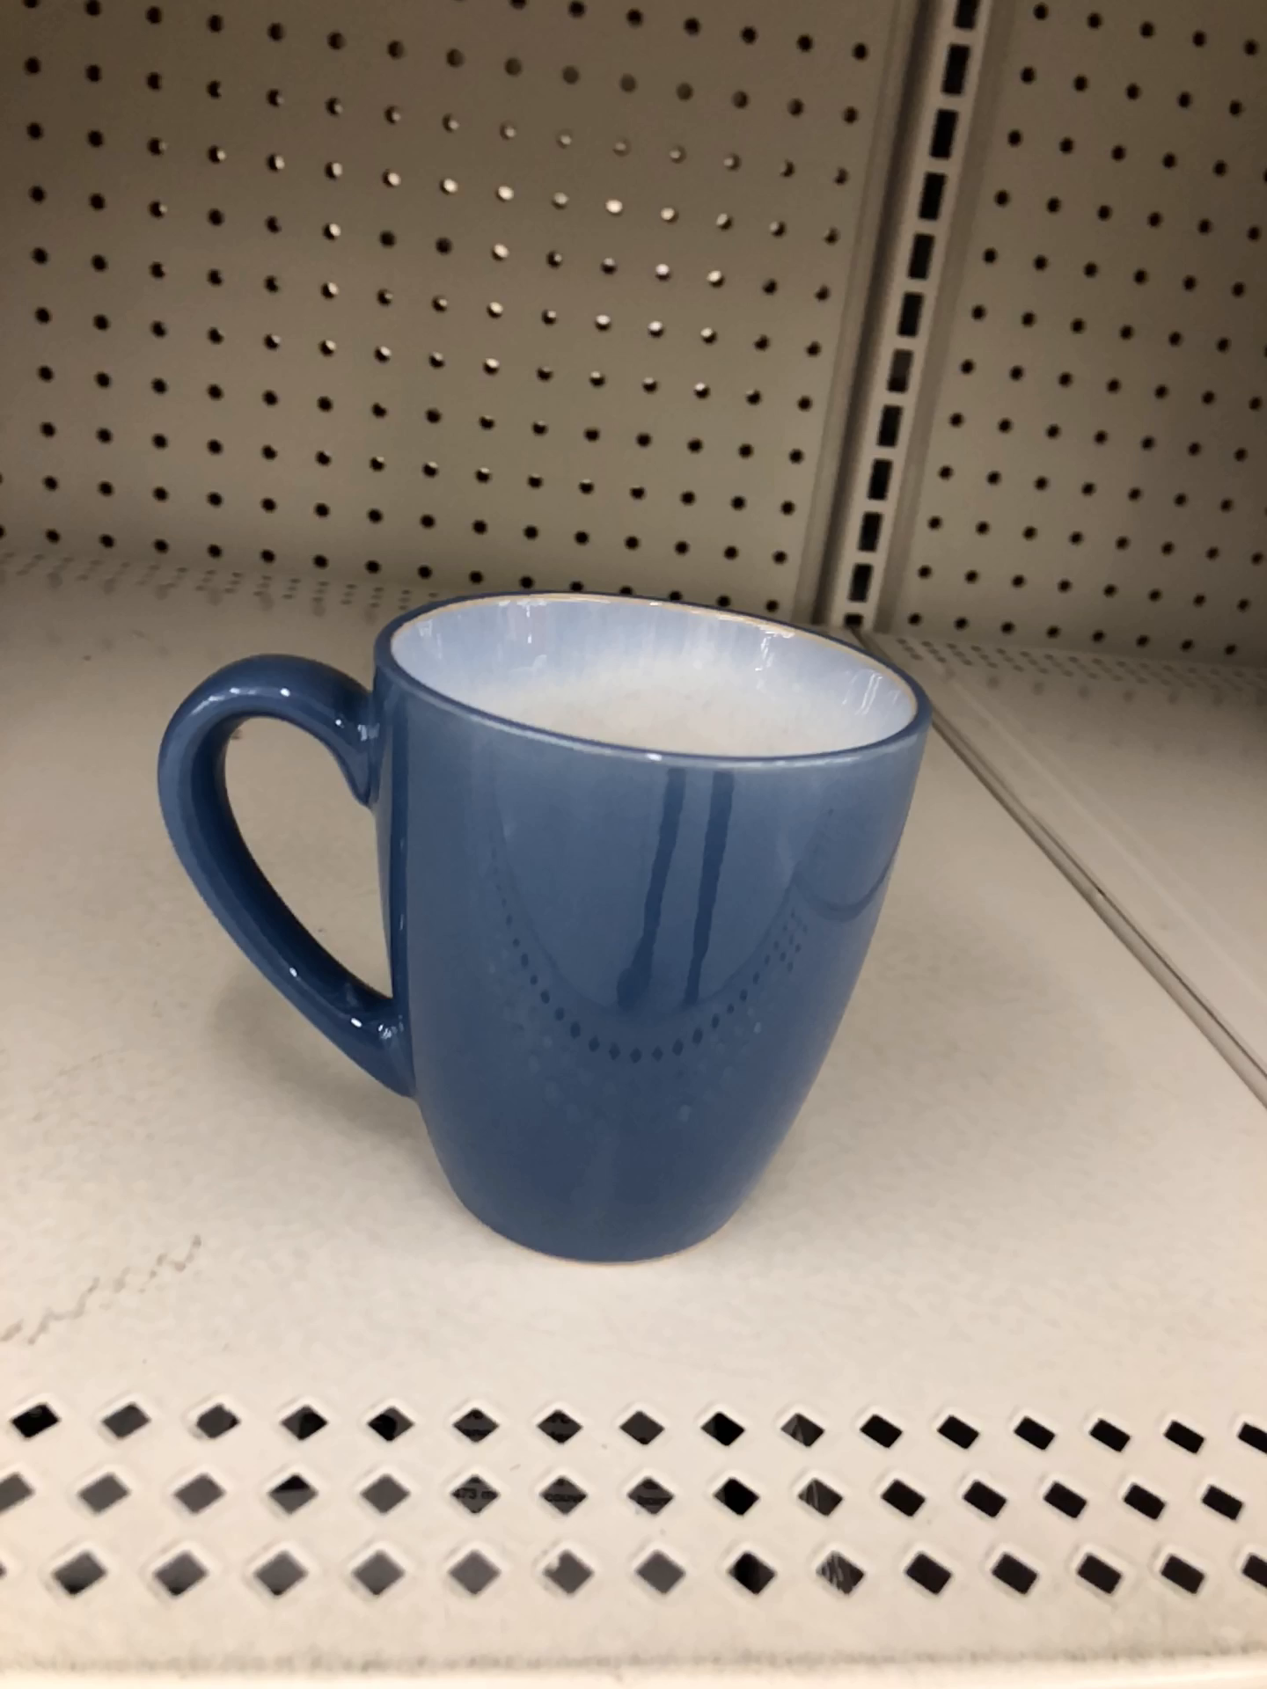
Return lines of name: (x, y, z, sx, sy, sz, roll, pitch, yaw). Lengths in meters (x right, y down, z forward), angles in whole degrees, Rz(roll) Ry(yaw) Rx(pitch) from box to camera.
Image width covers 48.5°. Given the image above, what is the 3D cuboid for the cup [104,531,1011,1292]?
cup: (-0.017, 0.007, 0.260, 0.127, 0.098, 0.097, 5, 23, -6)
